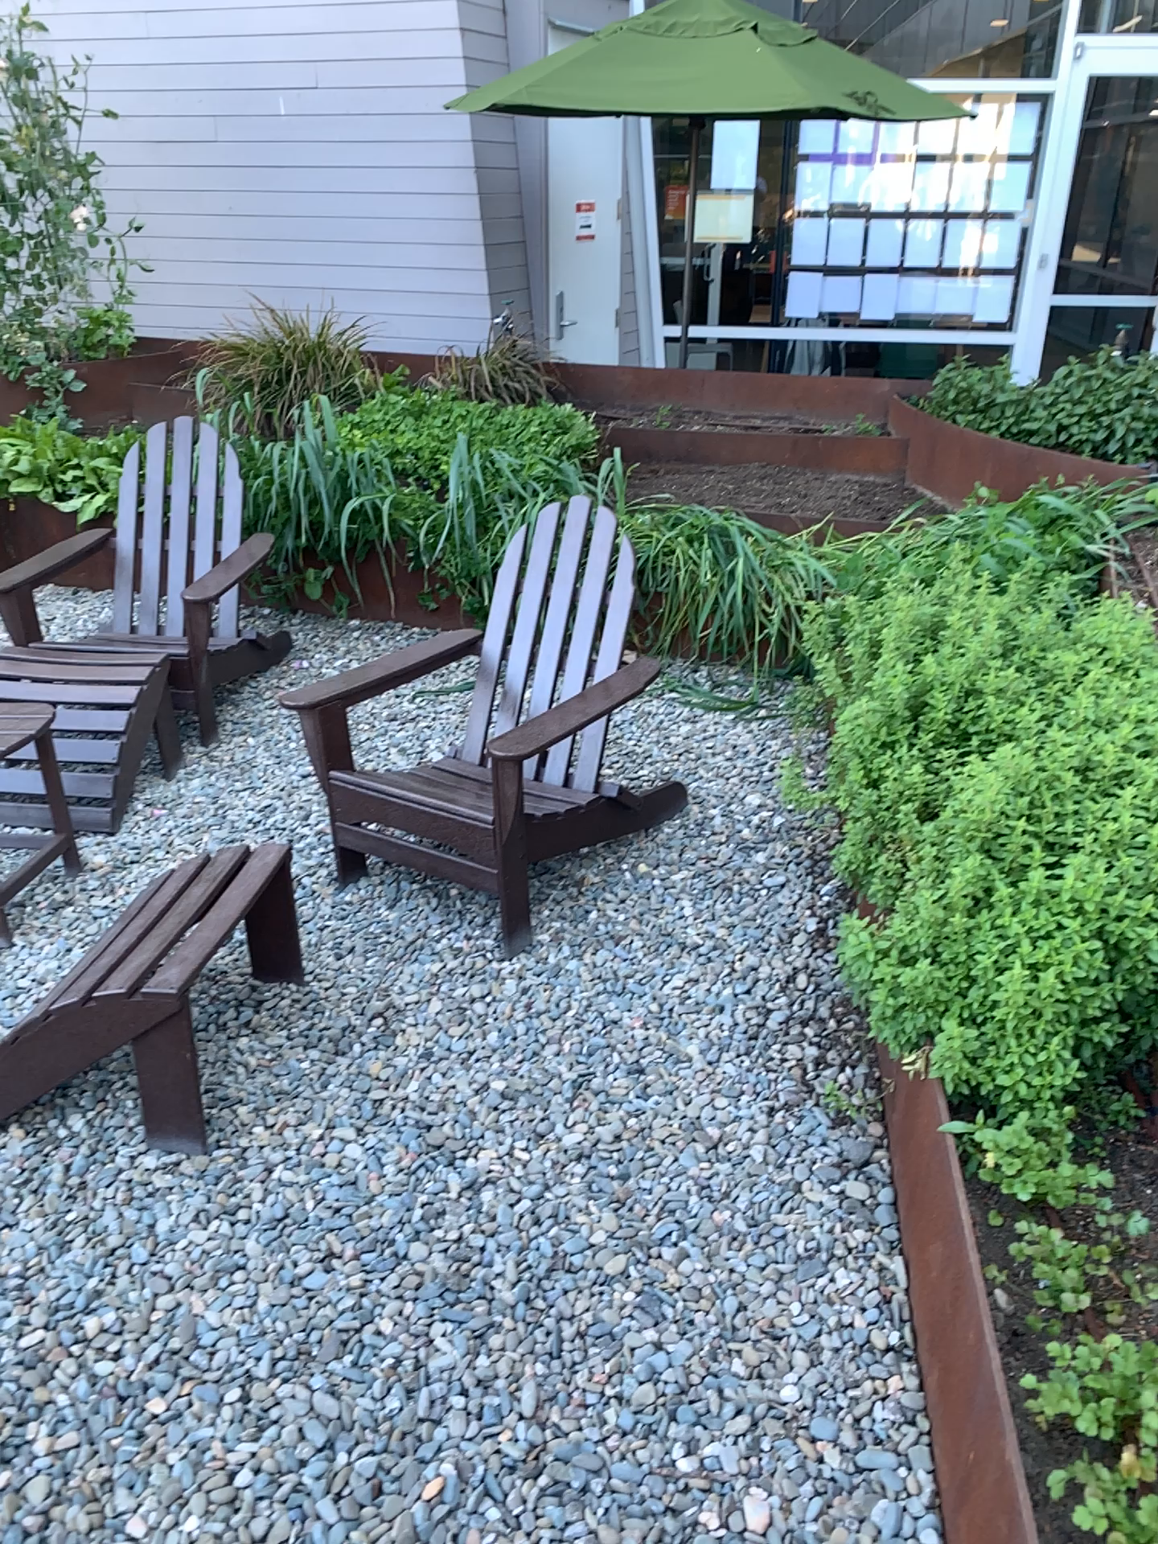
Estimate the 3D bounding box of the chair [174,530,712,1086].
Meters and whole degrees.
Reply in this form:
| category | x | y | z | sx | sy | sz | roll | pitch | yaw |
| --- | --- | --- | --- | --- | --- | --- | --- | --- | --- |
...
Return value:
| category | x | y | z | sx | sy | sz | roll | pitch | yaw |
| --- | --- | --- | --- | --- | --- | --- | --- | --- | --- |
| chair | -0.362 | 0.004 | 3.298 | 1.001 | 0.995 | 1.004 | -23 | 35 | -38 |
